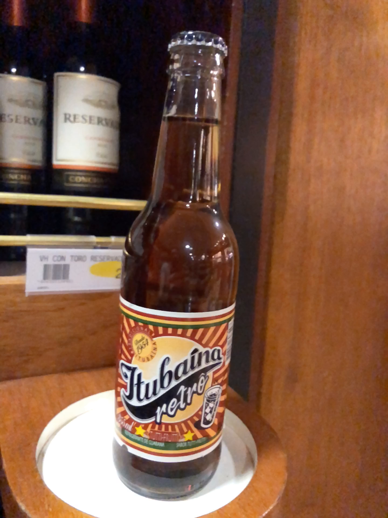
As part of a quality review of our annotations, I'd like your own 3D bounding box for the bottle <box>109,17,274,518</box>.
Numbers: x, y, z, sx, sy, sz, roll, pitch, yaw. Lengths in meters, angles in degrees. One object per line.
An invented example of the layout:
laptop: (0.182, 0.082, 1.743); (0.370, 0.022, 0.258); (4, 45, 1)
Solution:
bottle: (-0.009, 0.008, 0.256); (0.070, 0.249, 0.070); (3, 6, 0)
